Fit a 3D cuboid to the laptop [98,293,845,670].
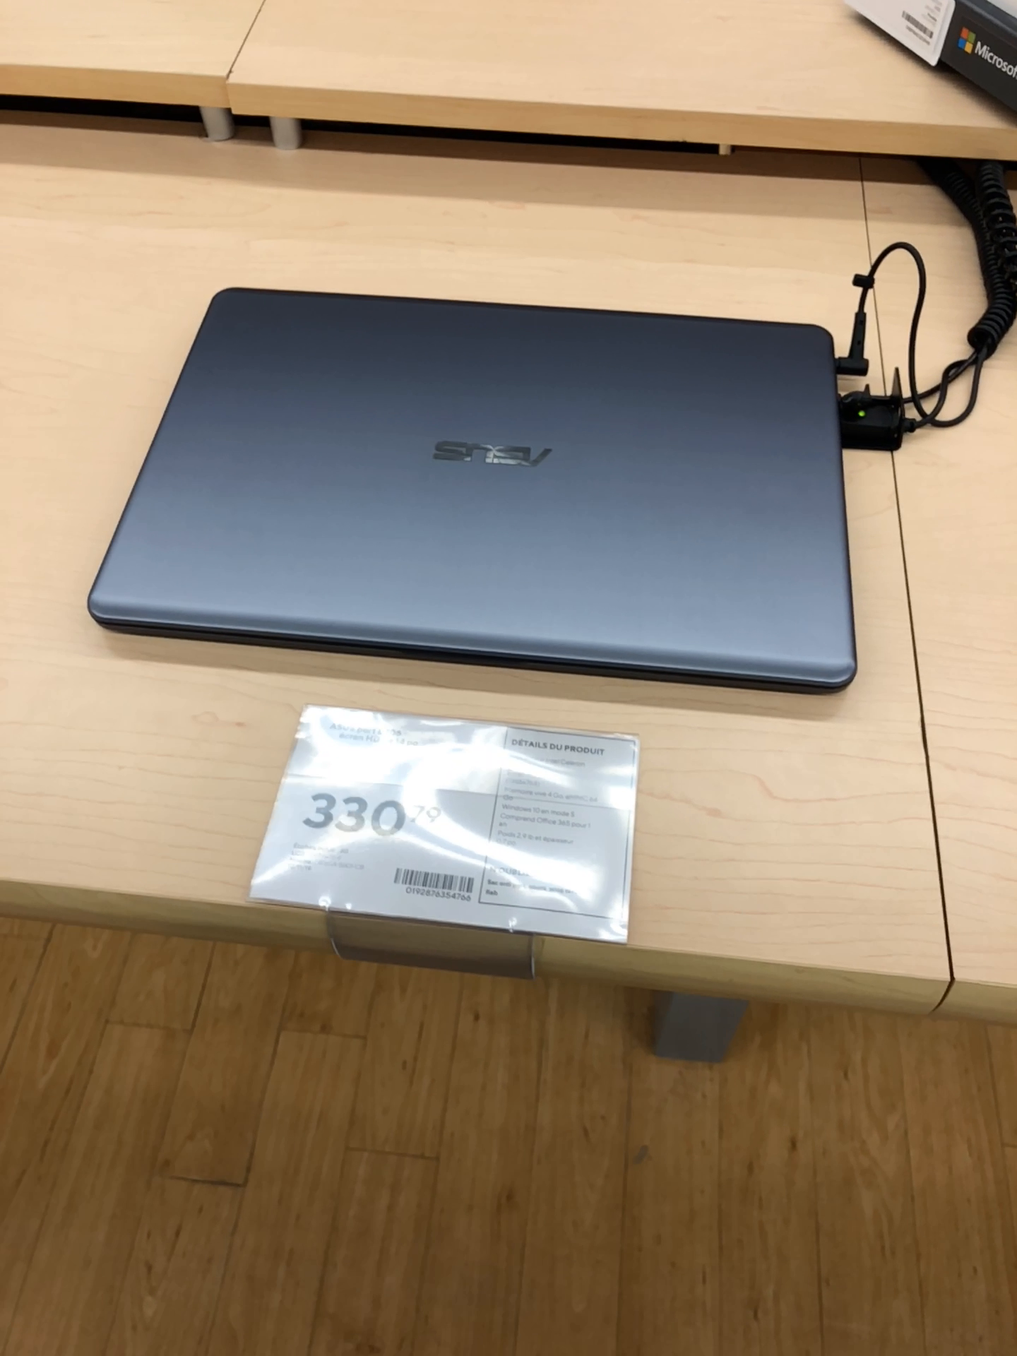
[{"bbox_3d":[-0.009,-0.105,0.532,0.318,0.001,0.211,5,56,4],"label":"laptop"}]
